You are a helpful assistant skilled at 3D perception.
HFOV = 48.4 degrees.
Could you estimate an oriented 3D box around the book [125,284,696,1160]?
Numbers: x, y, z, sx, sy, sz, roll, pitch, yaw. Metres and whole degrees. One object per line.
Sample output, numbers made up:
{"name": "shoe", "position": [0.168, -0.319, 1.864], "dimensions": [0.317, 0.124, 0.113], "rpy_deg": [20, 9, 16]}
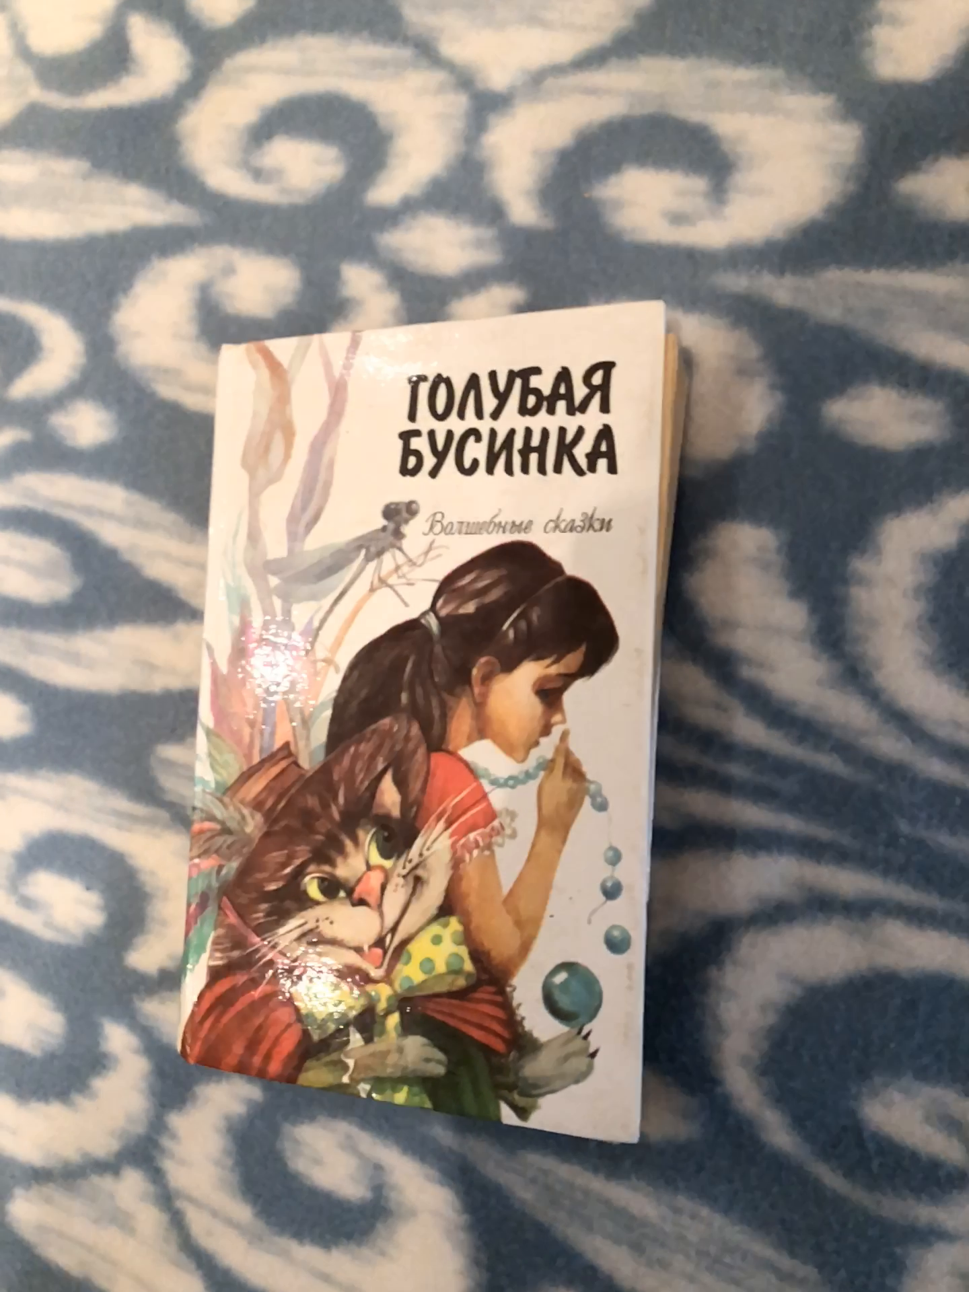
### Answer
{"name": "book", "position": [-0.020, 0.016, 0.299], "dimensions": [0.145, 0.040, 0.206], "rpy_deg": [1, 85, 21]}
